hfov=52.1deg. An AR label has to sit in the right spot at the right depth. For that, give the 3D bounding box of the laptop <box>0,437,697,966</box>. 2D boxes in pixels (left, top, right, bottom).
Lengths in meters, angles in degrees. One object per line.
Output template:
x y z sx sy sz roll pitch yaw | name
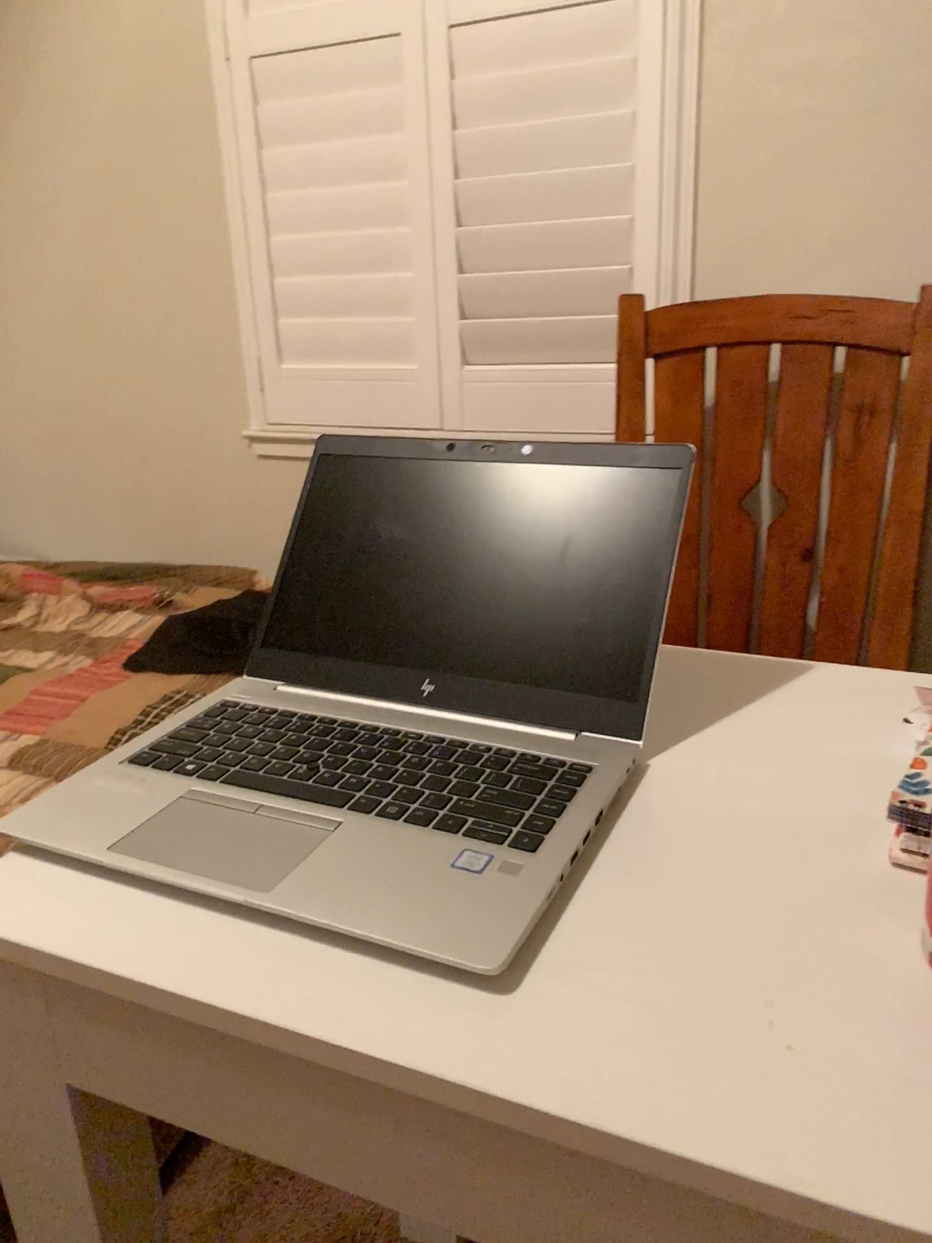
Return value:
-0.054 -0.003 0.602 0.310 0.159 0.366 7 21 24 | laptop
